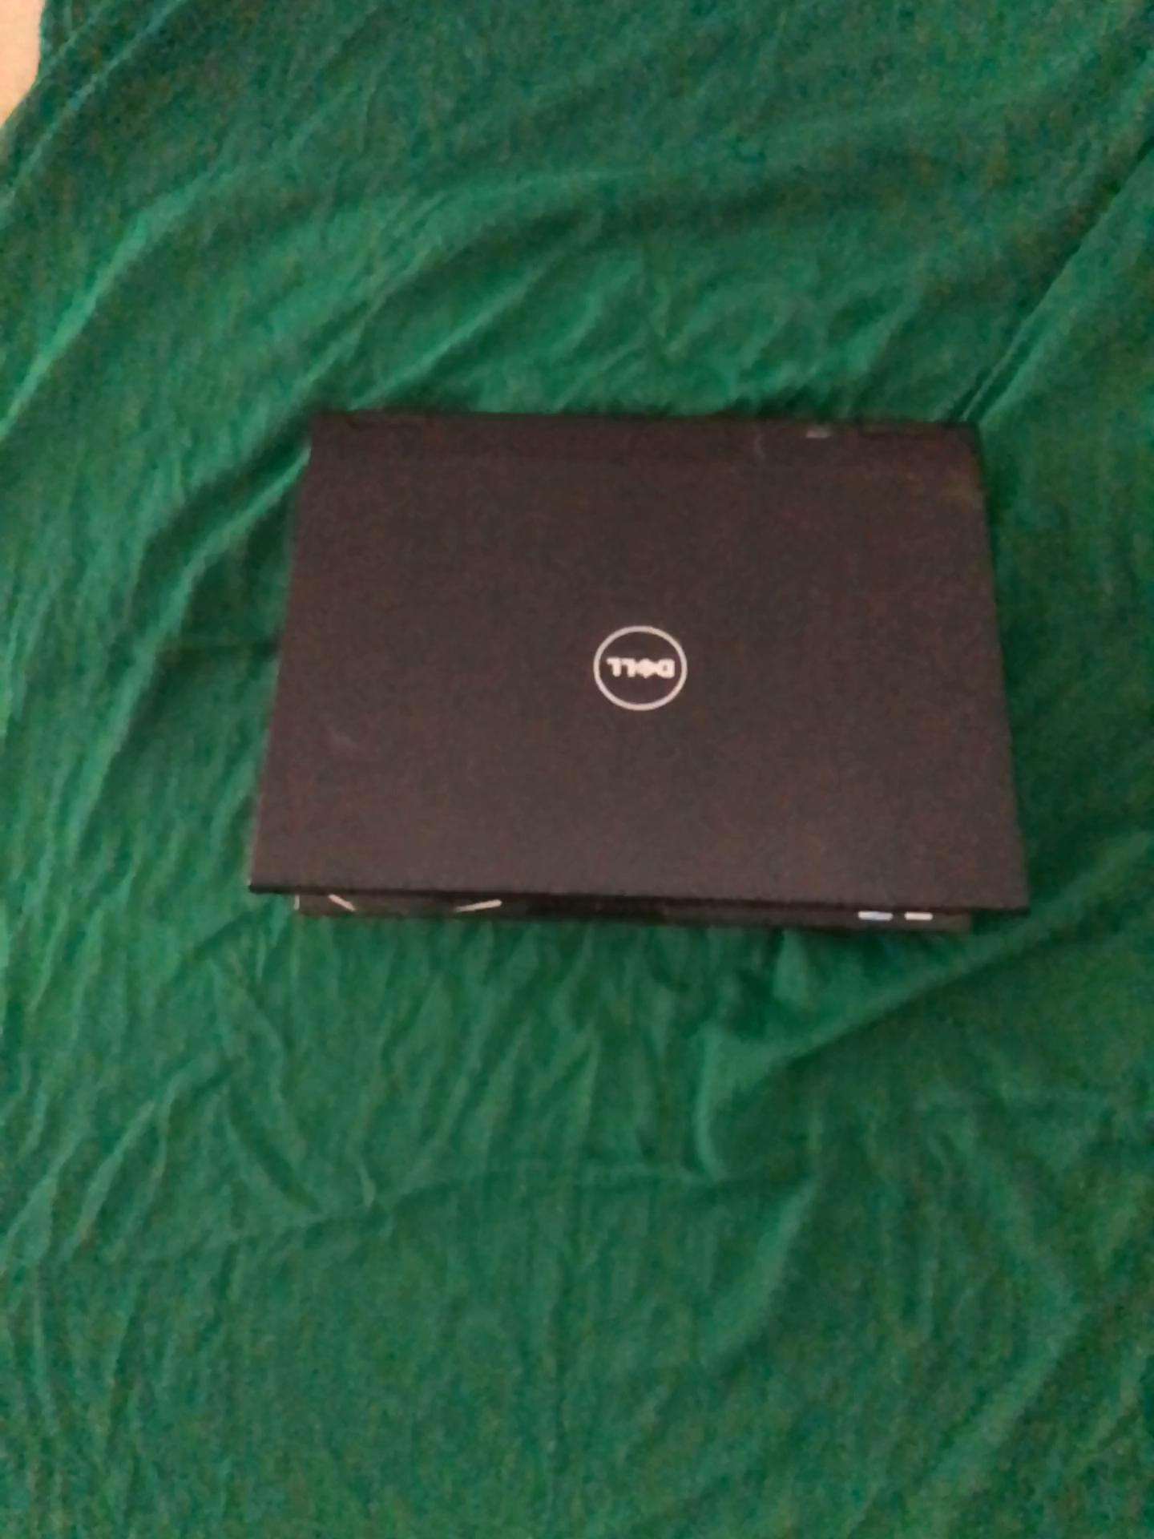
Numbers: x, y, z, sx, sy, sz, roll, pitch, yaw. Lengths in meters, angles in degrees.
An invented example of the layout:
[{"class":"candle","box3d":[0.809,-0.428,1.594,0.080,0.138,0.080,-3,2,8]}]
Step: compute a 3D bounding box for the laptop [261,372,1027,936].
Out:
[{"class":"laptop","box3d":[0.027,-0.045,0.561,0.306,0.066,0.226,2,90,2]}]
